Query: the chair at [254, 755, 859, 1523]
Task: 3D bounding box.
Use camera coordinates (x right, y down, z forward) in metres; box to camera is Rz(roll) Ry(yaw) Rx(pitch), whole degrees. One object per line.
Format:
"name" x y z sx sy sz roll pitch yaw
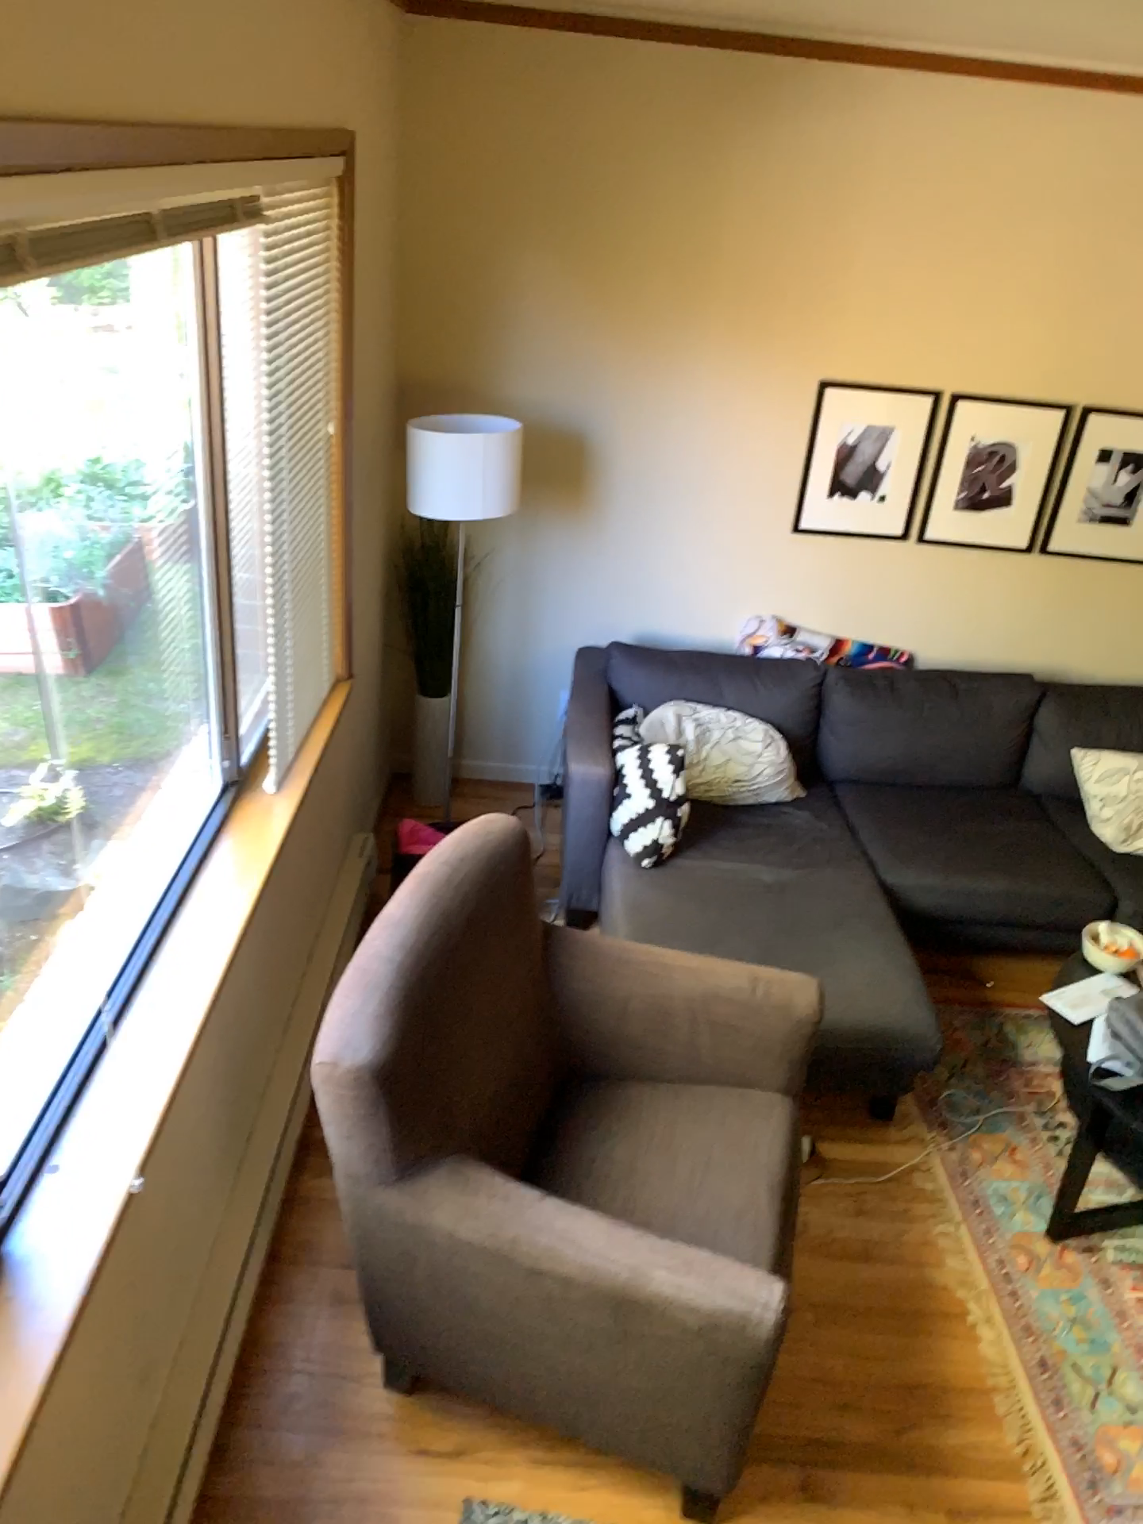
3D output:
"chair" 0.037 0.626 2.107 0.800 0.875 0.885 8 27 11
